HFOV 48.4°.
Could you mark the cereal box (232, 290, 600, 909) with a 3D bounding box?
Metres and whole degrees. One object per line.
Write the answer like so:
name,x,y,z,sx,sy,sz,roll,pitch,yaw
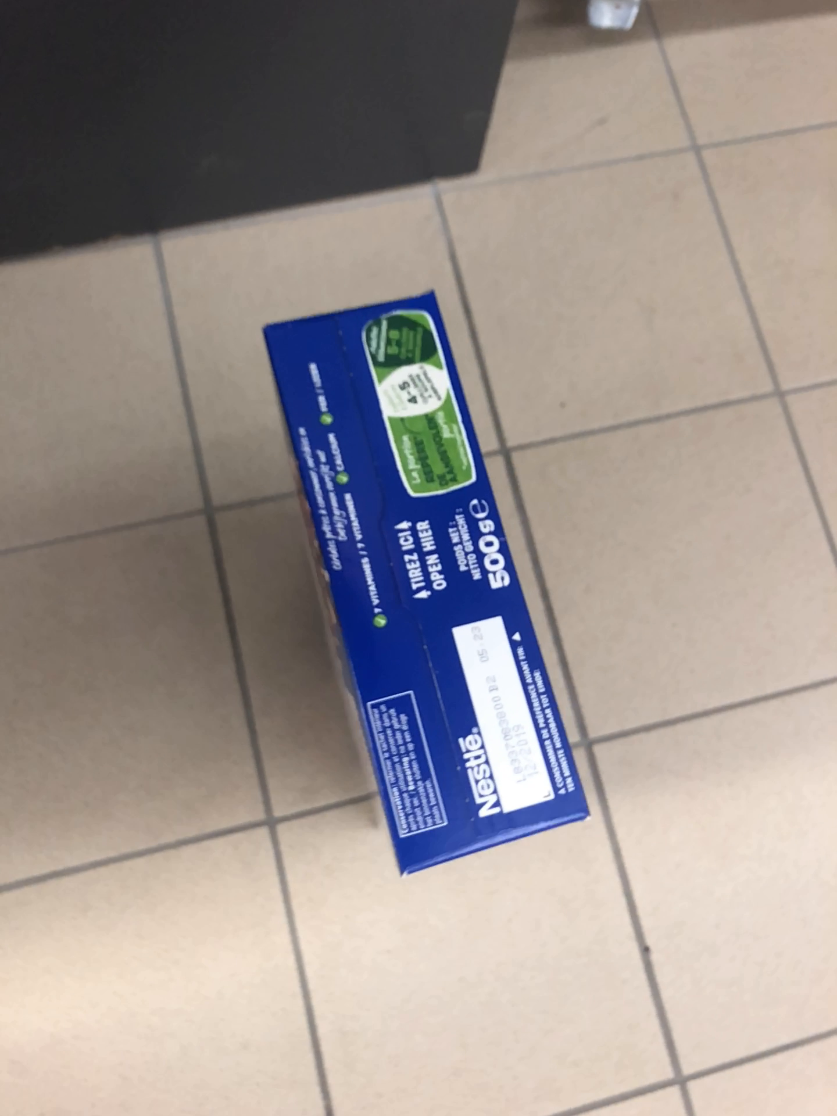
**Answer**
cereal box,-0.017,0.038,0.440,0.070,0.290,0.190,-14,79,-9
